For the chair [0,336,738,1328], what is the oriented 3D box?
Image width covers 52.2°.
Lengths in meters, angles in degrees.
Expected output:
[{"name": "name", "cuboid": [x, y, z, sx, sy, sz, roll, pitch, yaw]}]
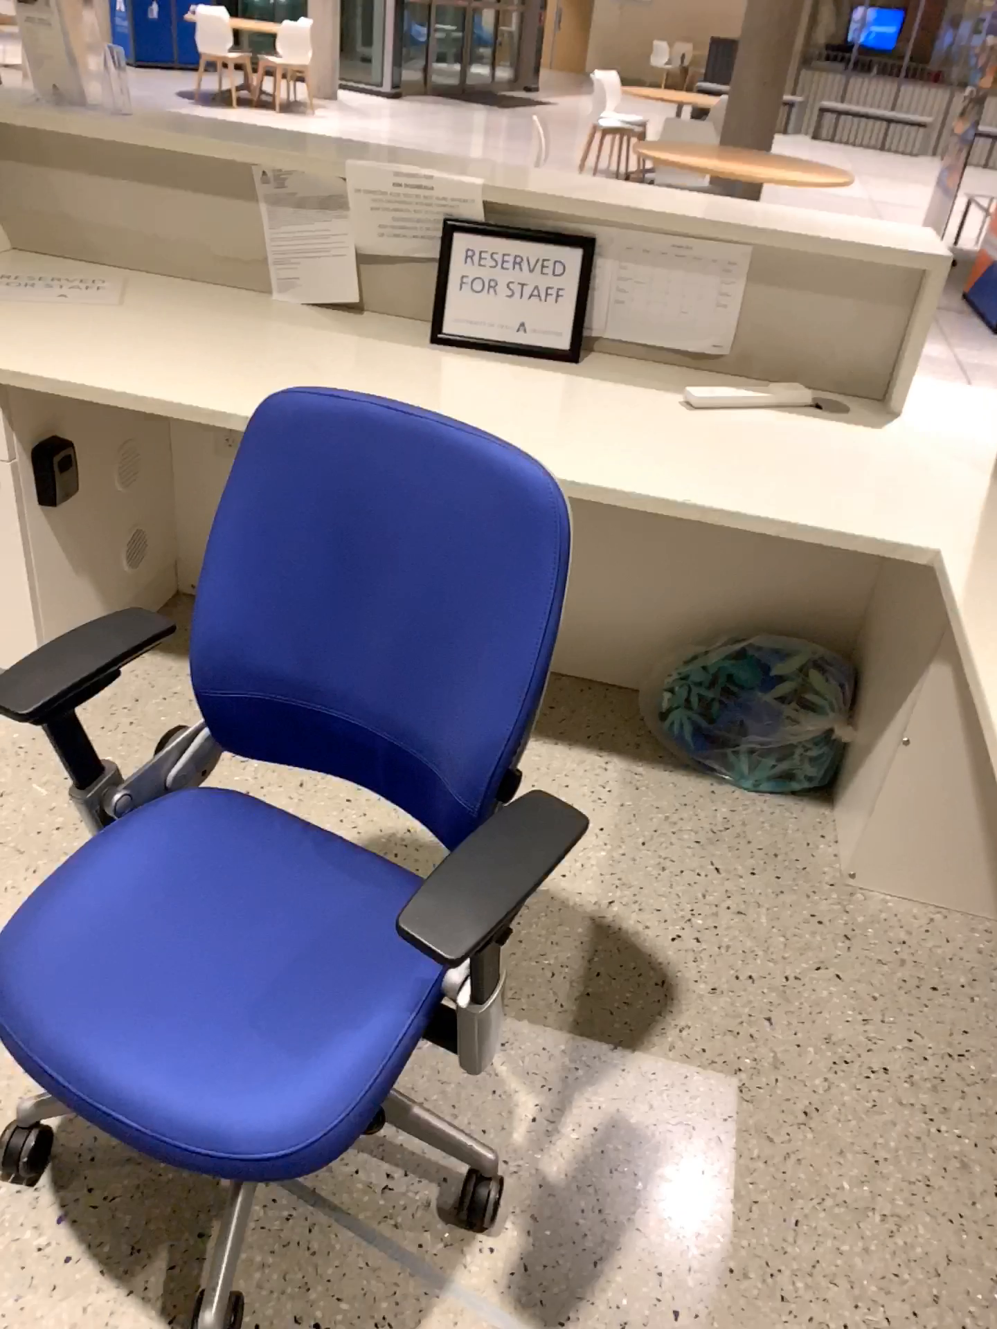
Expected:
[{"name": "chair", "cuboid": [-0.260, 0.220, 1.166, 0.698, 0.906, 0.608, 22, 36, 22]}]
